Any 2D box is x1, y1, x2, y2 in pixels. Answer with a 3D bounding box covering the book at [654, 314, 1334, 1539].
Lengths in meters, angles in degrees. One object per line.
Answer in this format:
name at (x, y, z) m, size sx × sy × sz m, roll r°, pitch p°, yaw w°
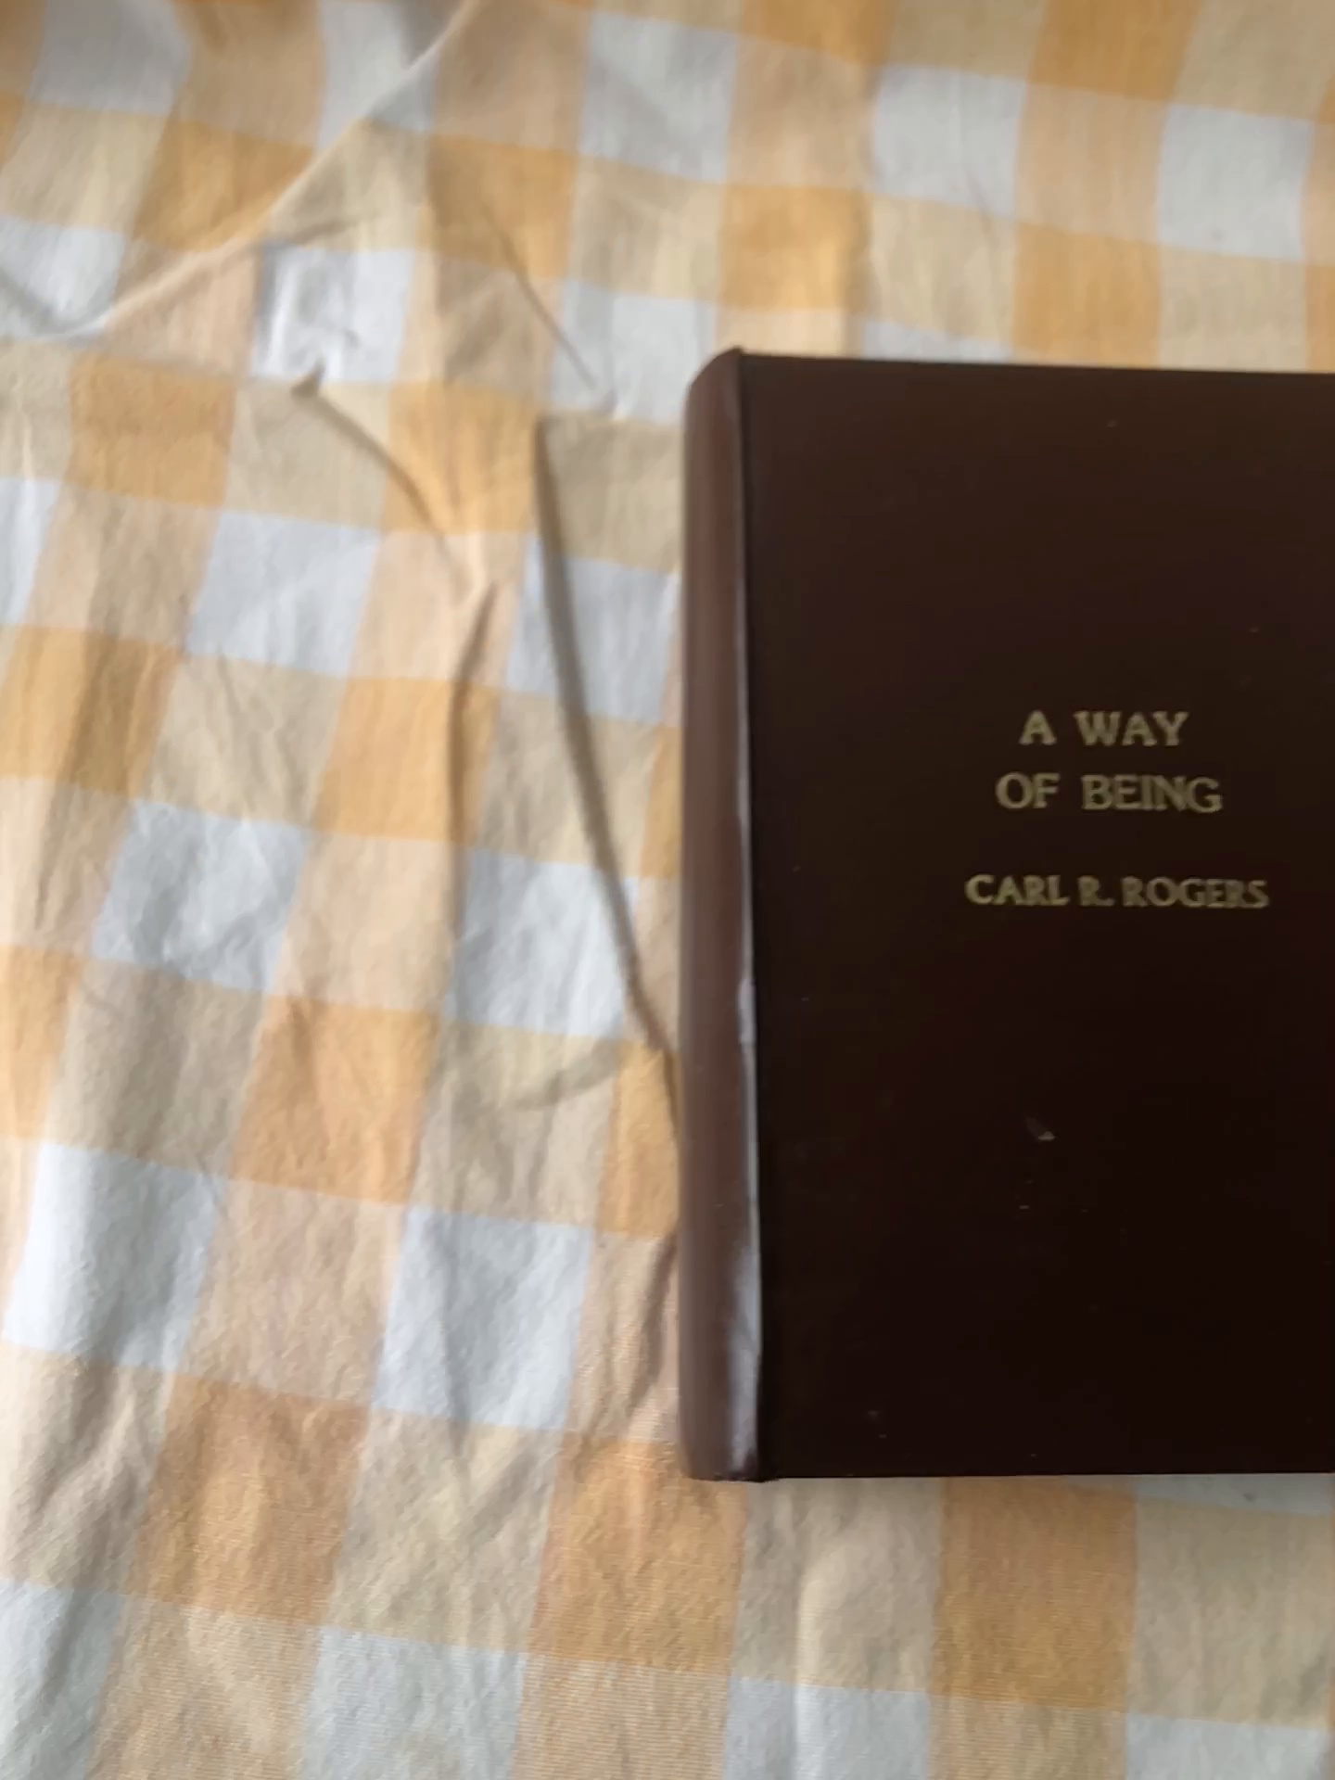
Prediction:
book at (0.069, 0.003, 0.278) m, size 0.140 × 0.060 × 0.210 m, roll 1°, pitch 72°, yaw -3°
